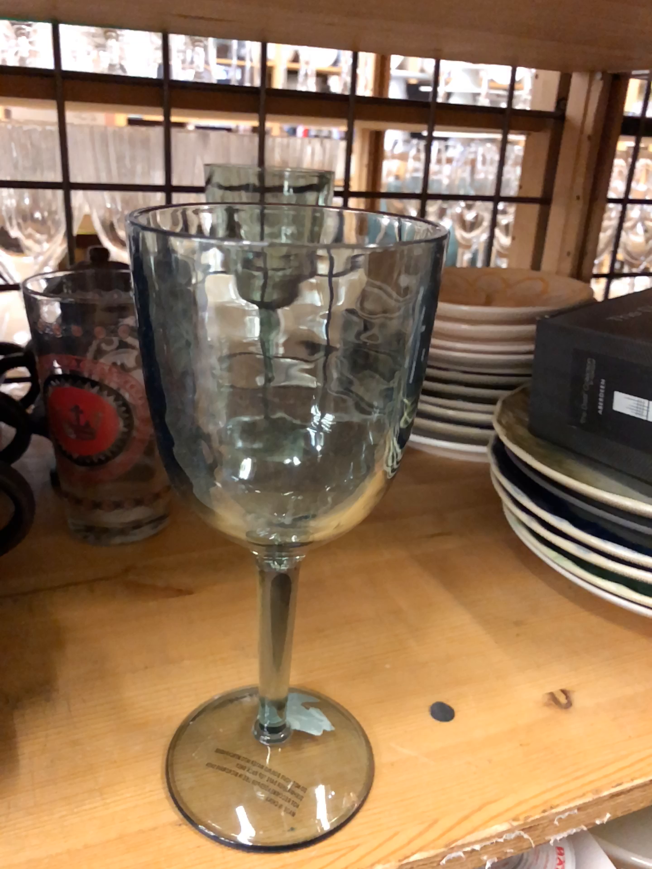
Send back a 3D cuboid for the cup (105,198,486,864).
[{"bbox_3d":[-0.018,0.030,0.254,0.091,0.204,0.095,3,22,-1],"label":"cup"}]
